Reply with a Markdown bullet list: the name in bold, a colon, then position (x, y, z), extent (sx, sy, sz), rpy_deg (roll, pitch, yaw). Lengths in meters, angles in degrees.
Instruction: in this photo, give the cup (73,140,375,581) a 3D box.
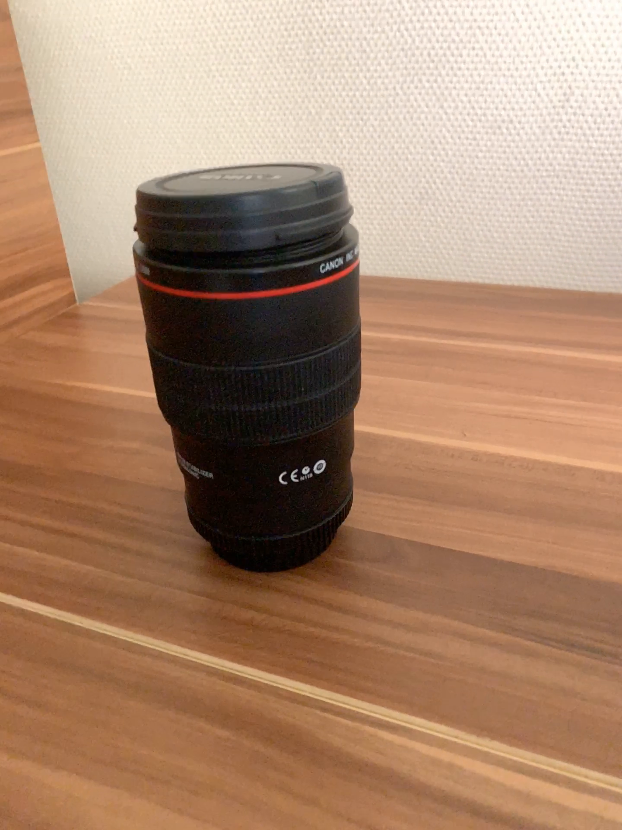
- **cup**: position (-0.018, -0.018, 0.232), extent (0.080, 0.139, 0.070), rpy_deg (0, 30, 5)
